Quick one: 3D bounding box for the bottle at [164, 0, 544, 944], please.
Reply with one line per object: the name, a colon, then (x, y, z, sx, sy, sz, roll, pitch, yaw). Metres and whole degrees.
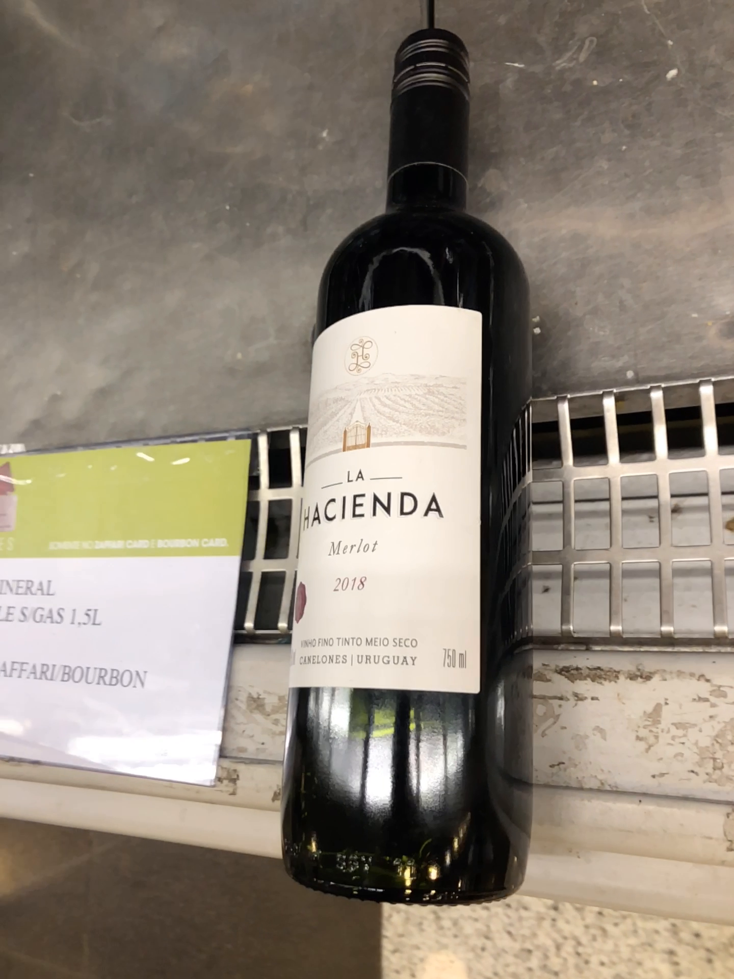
bottle: (0.007, -0.036, 0.261, 0.080, 0.070, 0.300, -5, 73, 26)
